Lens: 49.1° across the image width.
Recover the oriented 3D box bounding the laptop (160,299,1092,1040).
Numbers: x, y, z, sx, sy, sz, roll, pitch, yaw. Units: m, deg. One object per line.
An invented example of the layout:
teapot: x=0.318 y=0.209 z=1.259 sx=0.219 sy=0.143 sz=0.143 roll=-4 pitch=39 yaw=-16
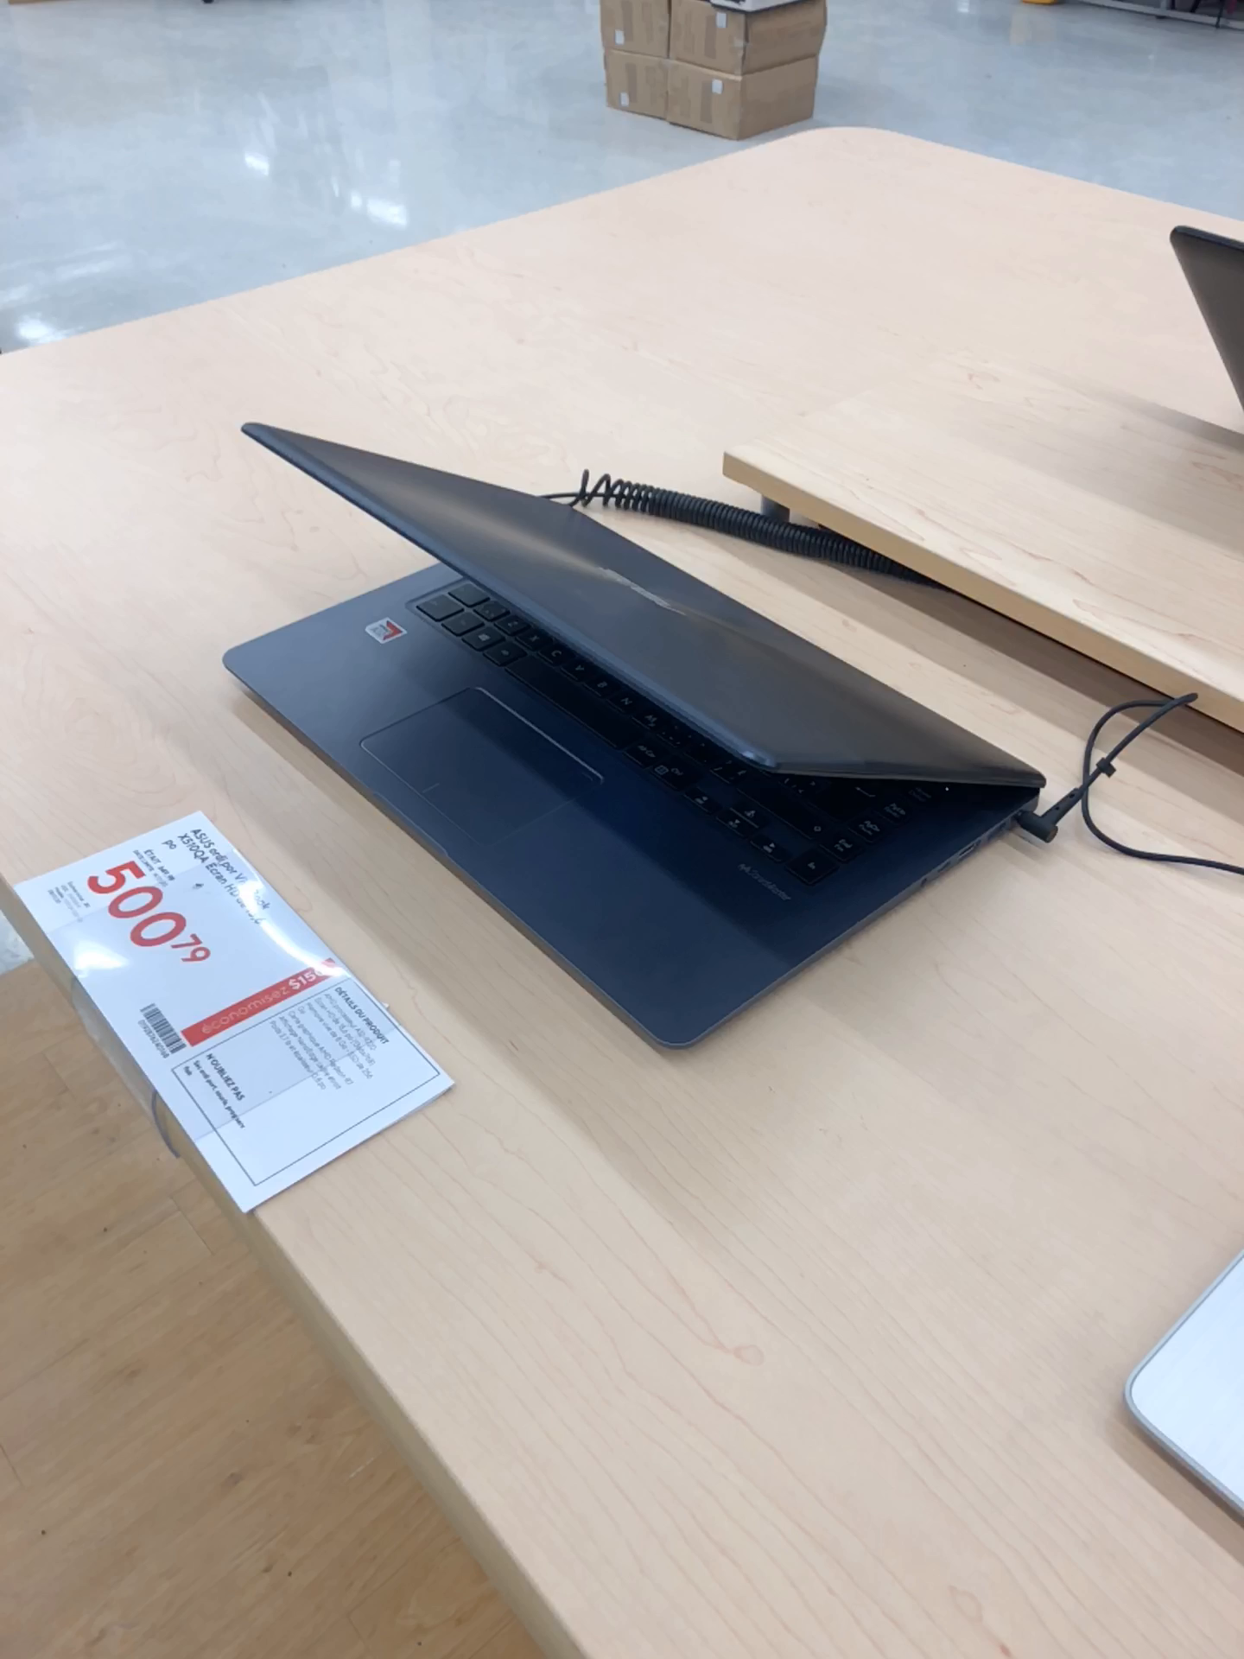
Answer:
laptop: x=-0.010 y=-0.105 z=0.642 sx=0.232 sy=0.136 sz=0.346 roll=-30 pitch=50 yaw=-30
